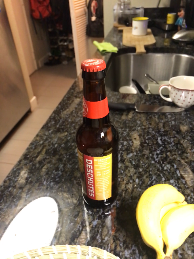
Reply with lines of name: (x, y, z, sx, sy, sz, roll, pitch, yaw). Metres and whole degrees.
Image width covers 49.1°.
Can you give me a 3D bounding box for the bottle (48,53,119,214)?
bottle: (-0.006, 0.017, 0.261, 0.060, 0.199, 0.060, -2, 35, 2)
